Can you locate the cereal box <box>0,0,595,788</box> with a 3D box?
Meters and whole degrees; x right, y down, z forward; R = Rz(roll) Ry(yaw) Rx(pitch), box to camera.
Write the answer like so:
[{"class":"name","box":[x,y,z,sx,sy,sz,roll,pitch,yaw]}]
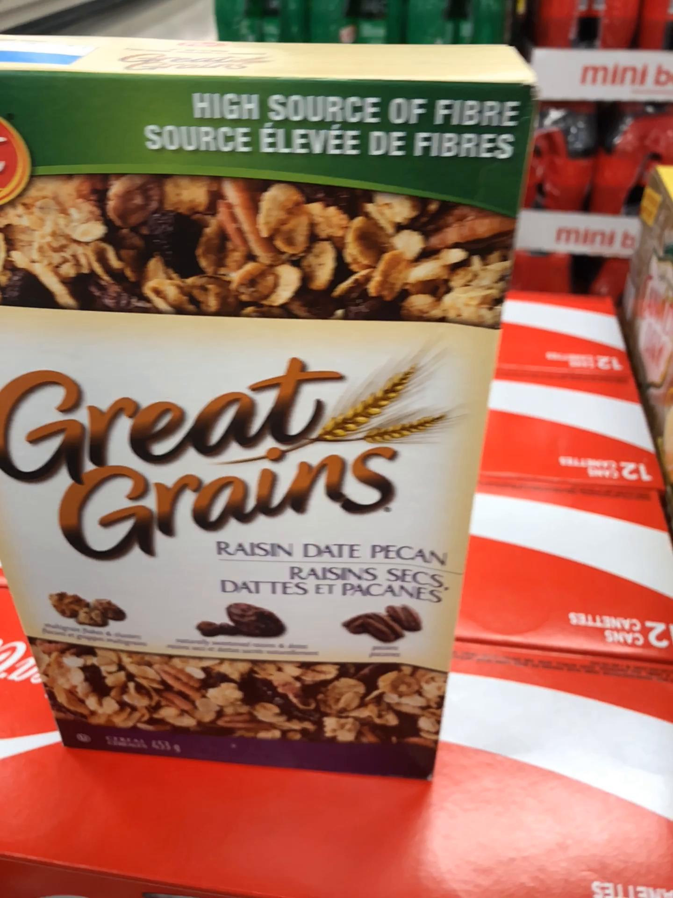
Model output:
[{"class":"cereal box","box":[-0.031,0.008,0.253,0.170,0.269,0.050,4,37,5]}]
